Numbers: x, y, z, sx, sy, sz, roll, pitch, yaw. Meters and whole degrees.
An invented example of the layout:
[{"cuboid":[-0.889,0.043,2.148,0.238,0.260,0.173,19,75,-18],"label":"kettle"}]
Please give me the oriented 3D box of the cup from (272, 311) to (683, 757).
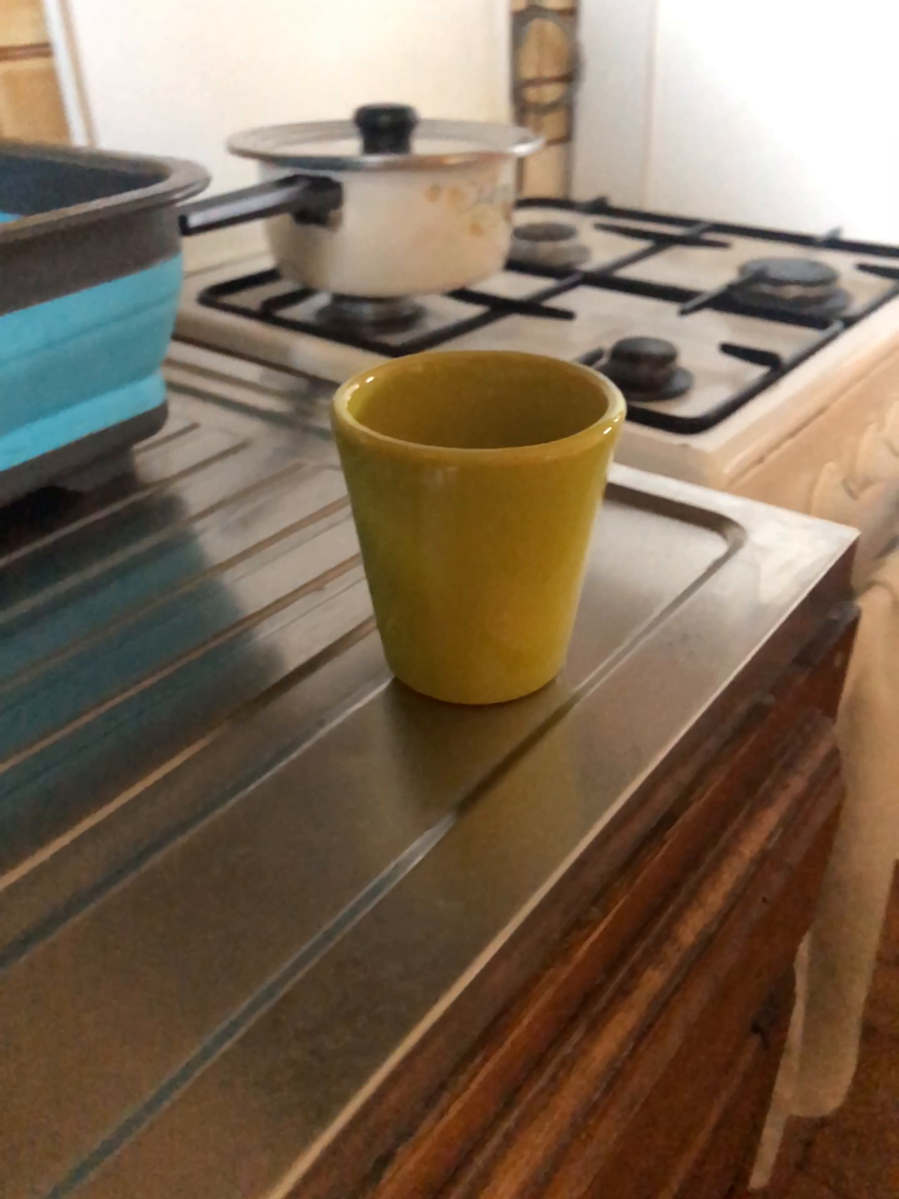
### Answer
[{"cuboid":[0.009,-0.025,0.298,0.080,0.089,0.080,0,32,0],"label":"cup"}]
